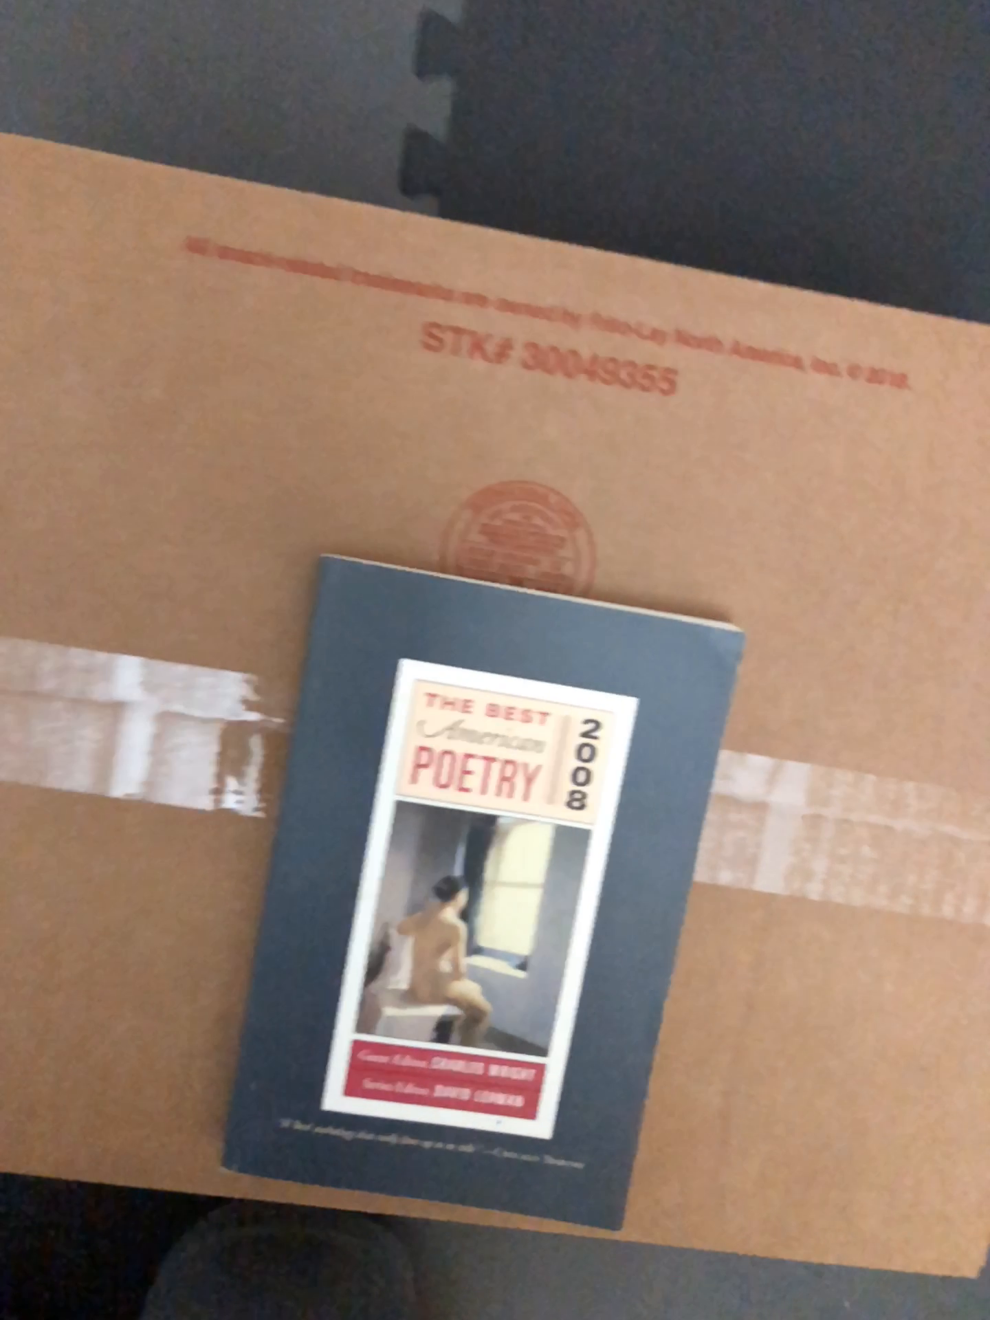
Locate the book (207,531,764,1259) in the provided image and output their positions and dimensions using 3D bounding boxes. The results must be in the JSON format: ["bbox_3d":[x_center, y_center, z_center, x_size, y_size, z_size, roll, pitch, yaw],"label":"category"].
[{"bbox_3d":[-0.006,0.083,0.372,0.150,0.020,0.230,9,97,-4],"label":"book"}]
